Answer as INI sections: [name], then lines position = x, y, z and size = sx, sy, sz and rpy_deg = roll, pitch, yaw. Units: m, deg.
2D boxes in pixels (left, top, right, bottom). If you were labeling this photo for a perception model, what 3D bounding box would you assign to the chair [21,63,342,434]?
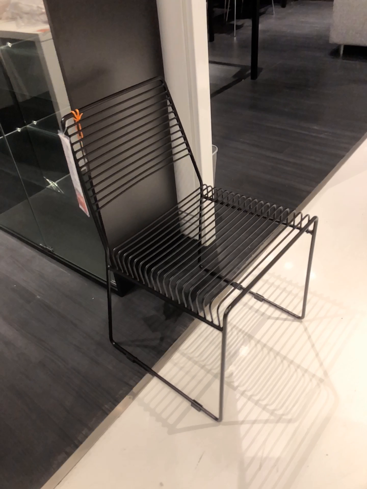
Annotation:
[chair]
position = 0.031, -0.008, 1.137
size = 0.502, 0.764, 0.522
rpy_deg = 26, 49, 33
